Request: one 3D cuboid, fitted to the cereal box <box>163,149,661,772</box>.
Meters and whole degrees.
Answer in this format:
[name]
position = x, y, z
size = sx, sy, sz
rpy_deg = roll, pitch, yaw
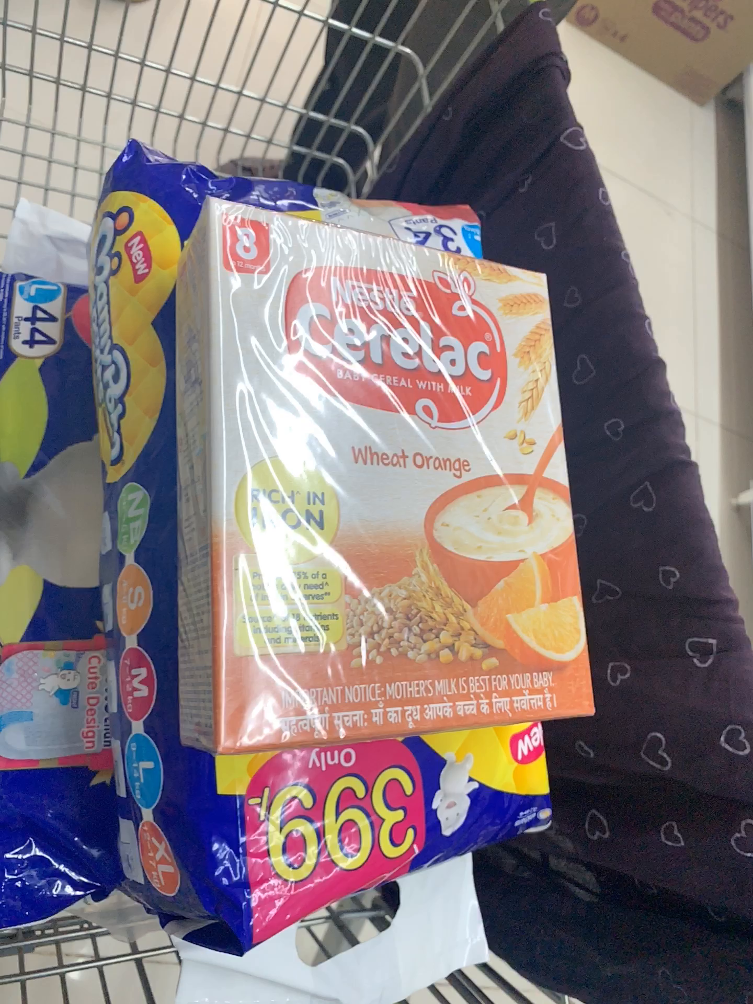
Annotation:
[cereal box]
position = 0.012, -0.011, 0.290
size = 0.170, 0.050, 0.190
rpy_deg = 3, 77, -27
